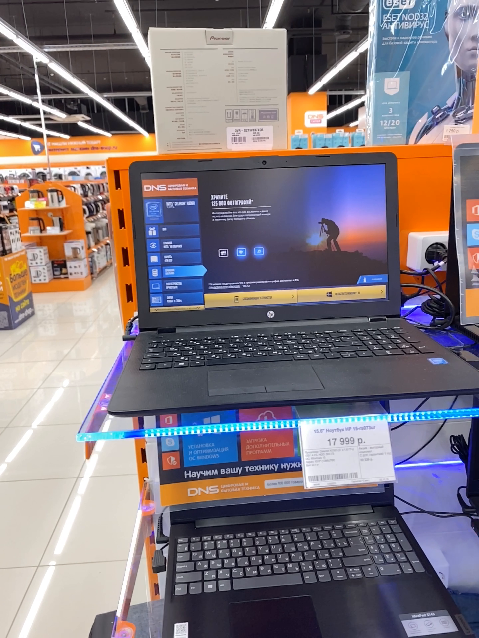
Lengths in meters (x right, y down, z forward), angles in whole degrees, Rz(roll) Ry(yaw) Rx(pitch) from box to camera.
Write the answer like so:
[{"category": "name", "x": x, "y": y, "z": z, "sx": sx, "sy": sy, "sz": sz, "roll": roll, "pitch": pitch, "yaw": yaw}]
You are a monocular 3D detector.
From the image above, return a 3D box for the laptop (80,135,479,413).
[{"category": "laptop", "x": 0.052, "y": -0.077, "z": 0.595, "sx": 0.388, "sy": 0.235, "sz": 0.323, "roll": -3, "pitch": 15, "yaw": -3}]
